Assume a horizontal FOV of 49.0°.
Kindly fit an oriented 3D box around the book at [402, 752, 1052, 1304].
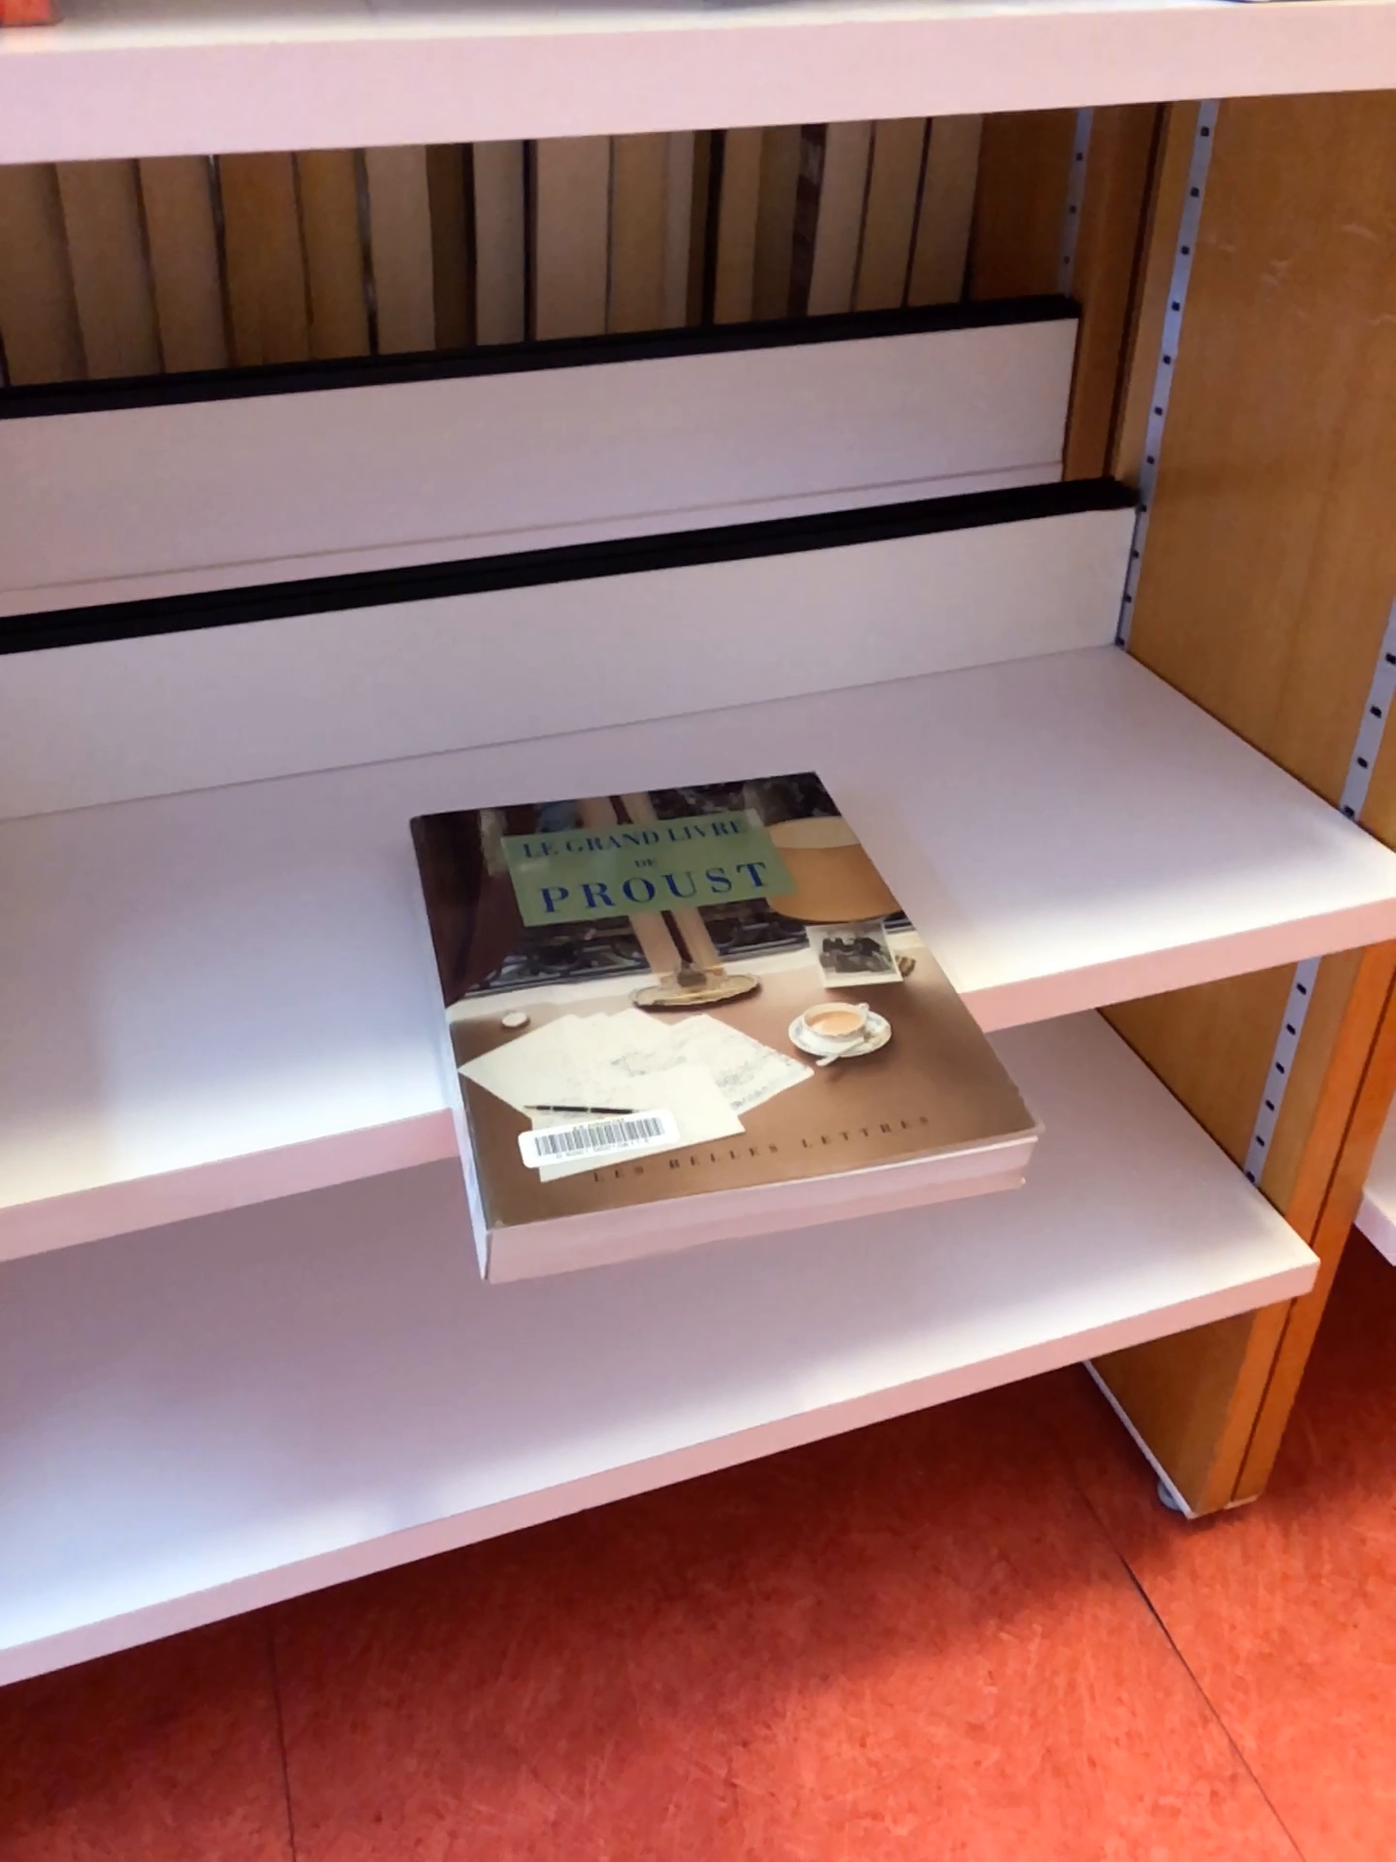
[{"bbox_3d":[-0.006,0.017,0.565,0.180,0.030,0.246,-8,37,-11],"label":"book"}]
